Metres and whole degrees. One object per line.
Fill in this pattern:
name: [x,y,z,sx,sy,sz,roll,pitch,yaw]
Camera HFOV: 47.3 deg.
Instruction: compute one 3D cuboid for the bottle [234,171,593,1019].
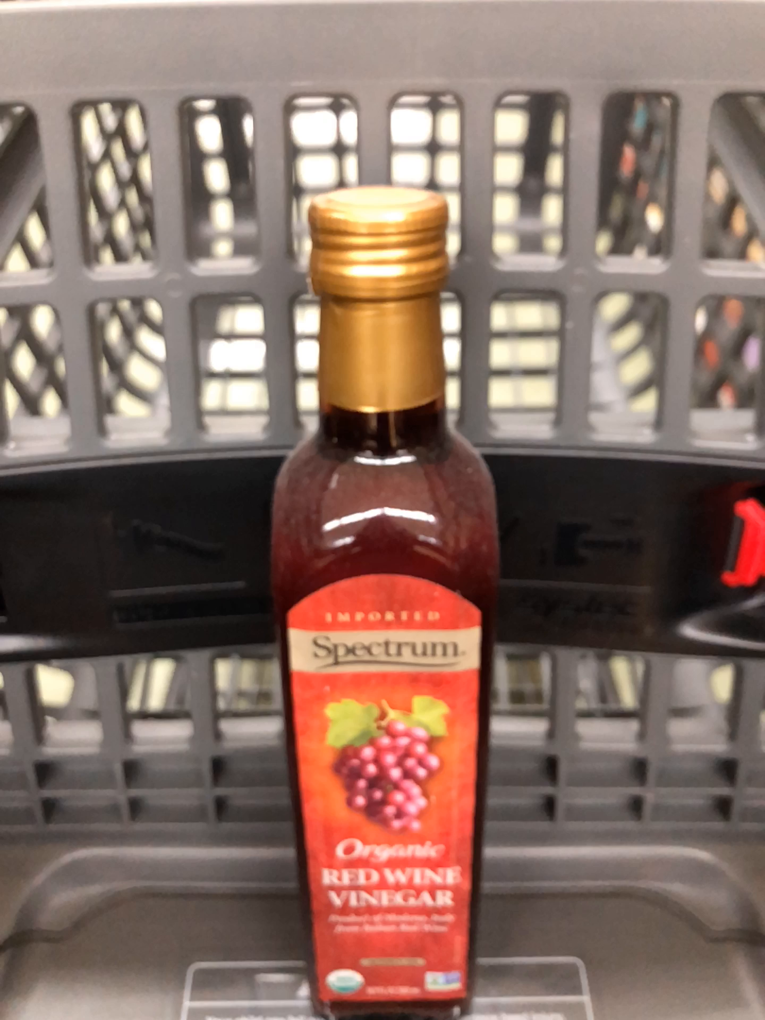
bottle: [0.008,0.045,0.267,0.070,0.270,0.070,-1,29,0]
